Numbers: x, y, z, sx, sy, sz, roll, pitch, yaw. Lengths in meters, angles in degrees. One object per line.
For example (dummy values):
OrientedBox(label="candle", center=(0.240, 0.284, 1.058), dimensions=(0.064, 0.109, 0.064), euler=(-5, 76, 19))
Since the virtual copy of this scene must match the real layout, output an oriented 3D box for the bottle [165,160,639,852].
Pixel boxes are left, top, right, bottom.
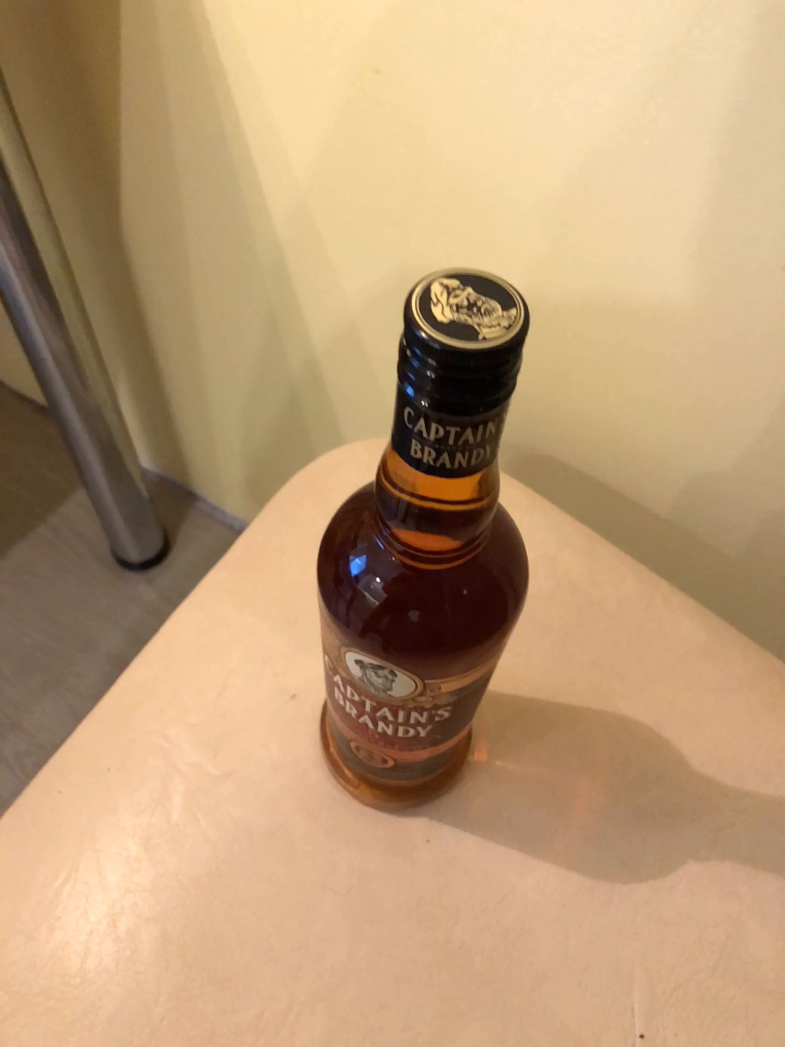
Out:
OrientedBox(label="bottle", center=(0.001, 0.025, 0.292), dimensions=(0.080, 0.258, 0.070), euler=(21, 57, 13))
